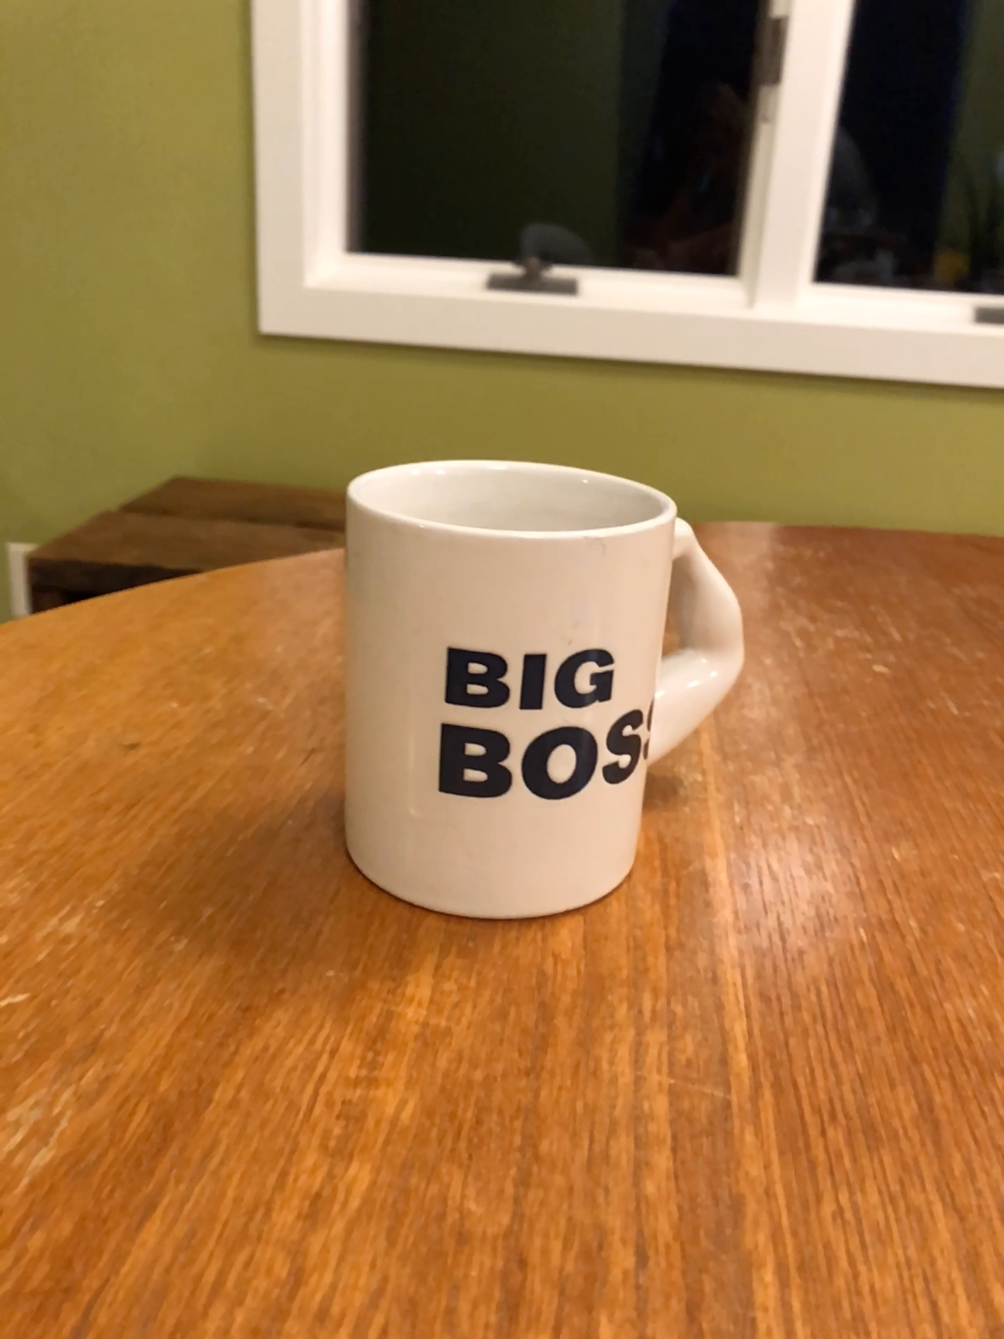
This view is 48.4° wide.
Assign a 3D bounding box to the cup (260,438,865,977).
[{"bbox_3d":[0.017,-0.003,0.313,0.139,0.100,0.087,-14,27,-38],"label":"cup"}]
